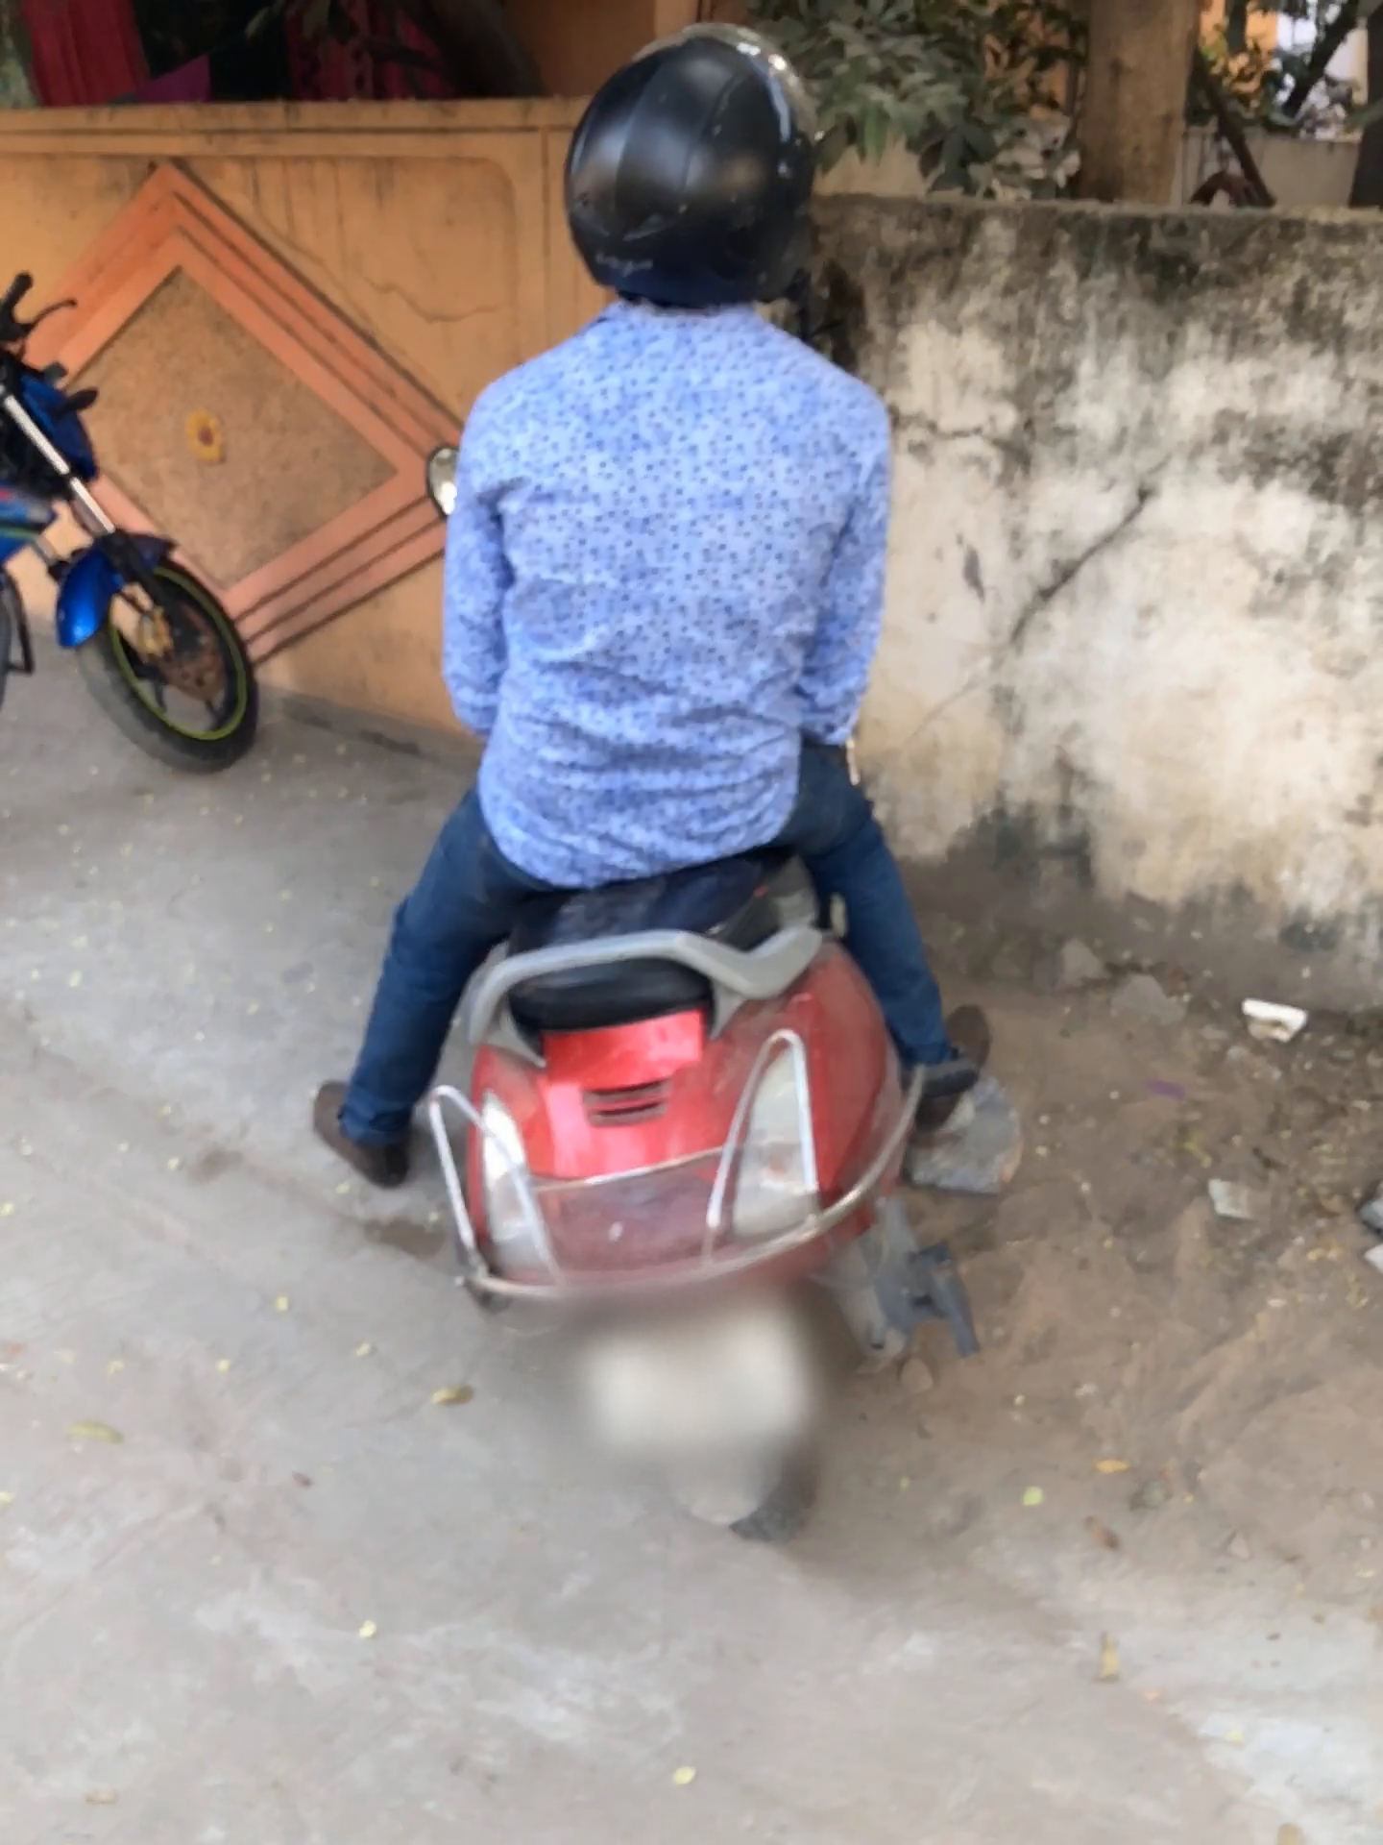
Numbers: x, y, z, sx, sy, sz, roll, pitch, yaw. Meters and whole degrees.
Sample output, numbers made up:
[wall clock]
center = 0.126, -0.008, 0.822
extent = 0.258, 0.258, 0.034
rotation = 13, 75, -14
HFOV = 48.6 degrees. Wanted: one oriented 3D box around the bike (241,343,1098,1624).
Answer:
[bike]
center = -0.083, -0.075, 2.203
extent = 0.722, 1.165, 1.509
rotation = -1, 29, -4
